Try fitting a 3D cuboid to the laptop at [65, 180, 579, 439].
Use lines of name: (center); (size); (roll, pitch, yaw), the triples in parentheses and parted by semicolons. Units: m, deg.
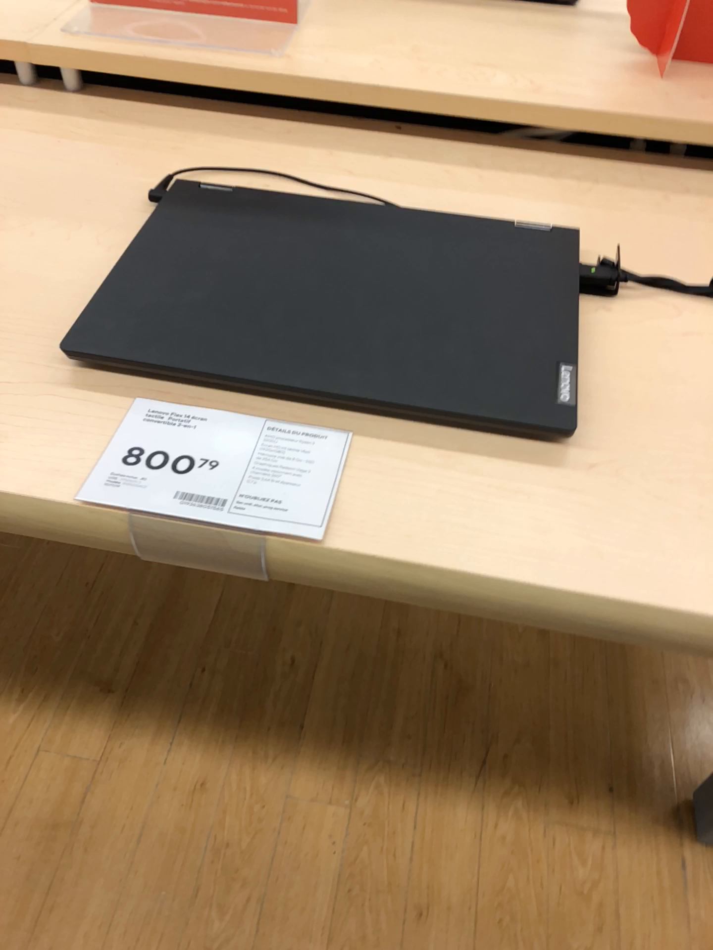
laptop: (-0.007, -0.132, 0.563); (0.326, 0.009, 0.212); (10, 51, 5)
